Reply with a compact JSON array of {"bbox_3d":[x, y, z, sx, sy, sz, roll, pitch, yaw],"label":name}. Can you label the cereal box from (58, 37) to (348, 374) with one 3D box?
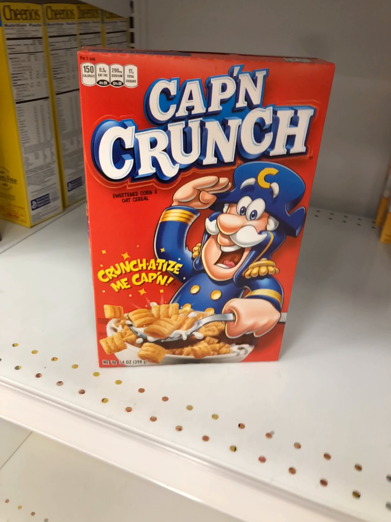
[{"bbox_3d":[-0.003,-0.034,0.419,0.210,0.309,0.070,0,30,-7],"label":"cereal box"}]
